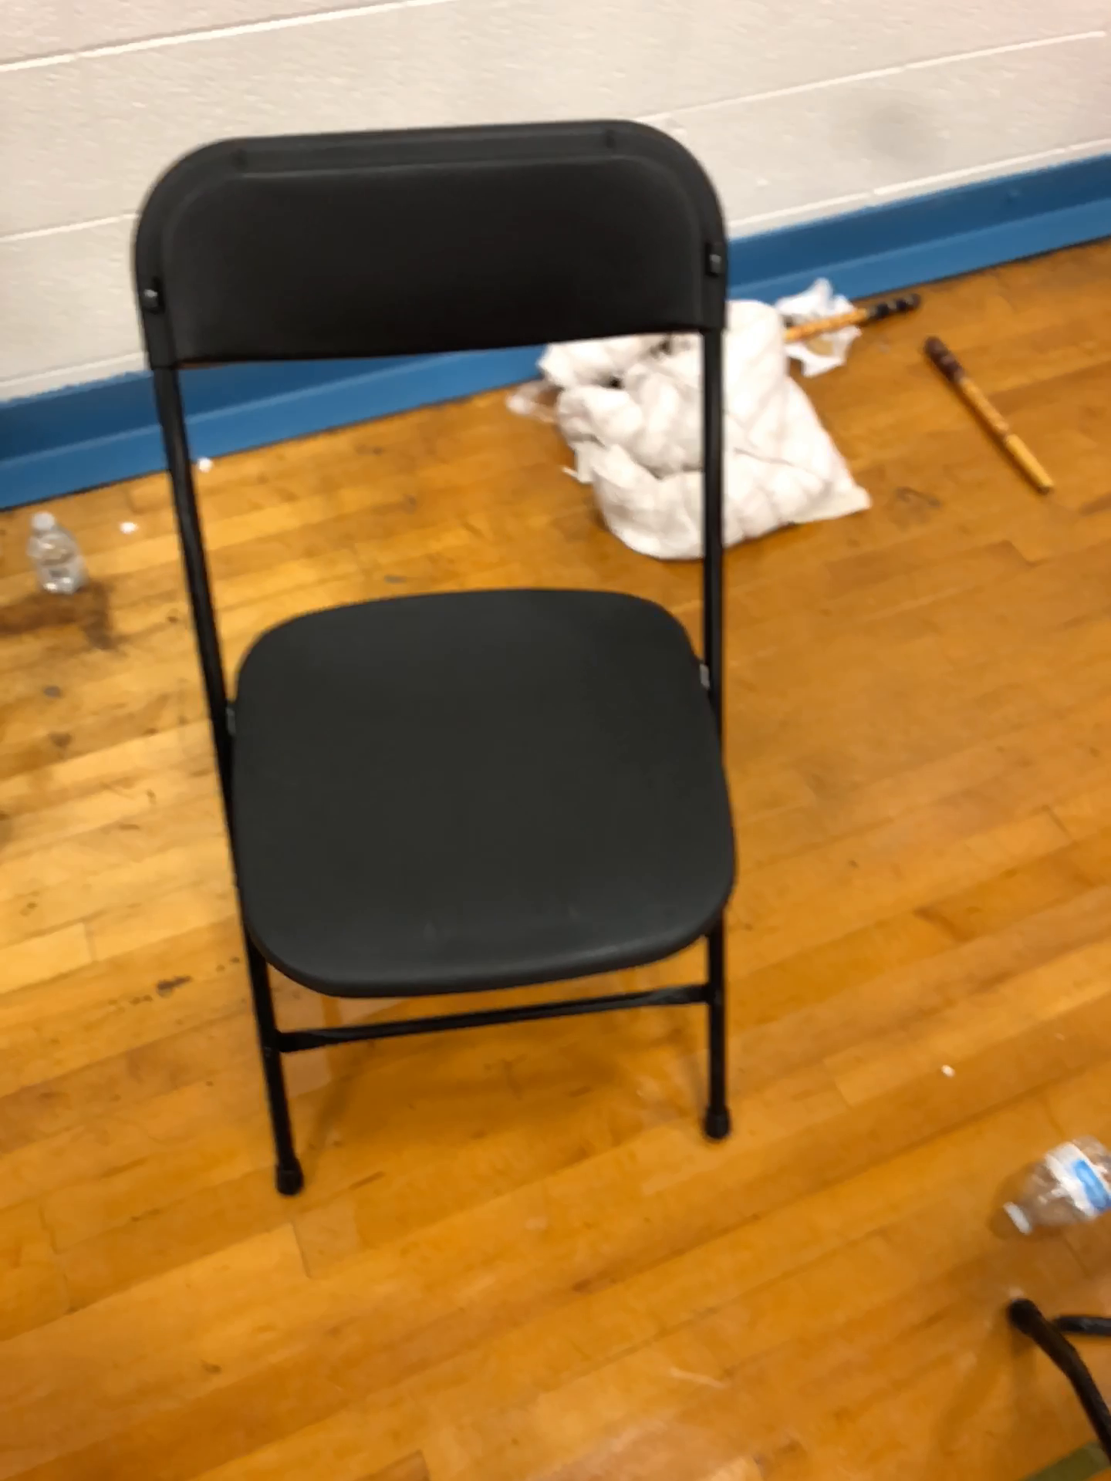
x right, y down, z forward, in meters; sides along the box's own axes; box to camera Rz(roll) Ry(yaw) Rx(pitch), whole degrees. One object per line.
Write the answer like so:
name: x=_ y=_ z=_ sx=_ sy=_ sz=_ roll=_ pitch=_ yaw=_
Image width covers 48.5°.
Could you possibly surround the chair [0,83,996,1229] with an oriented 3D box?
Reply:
chair: x=-0.077 y=-0.024 z=0.986 sx=0.471 sy=0.720 sz=0.526 roll=-6 pitch=52 yaw=-6
